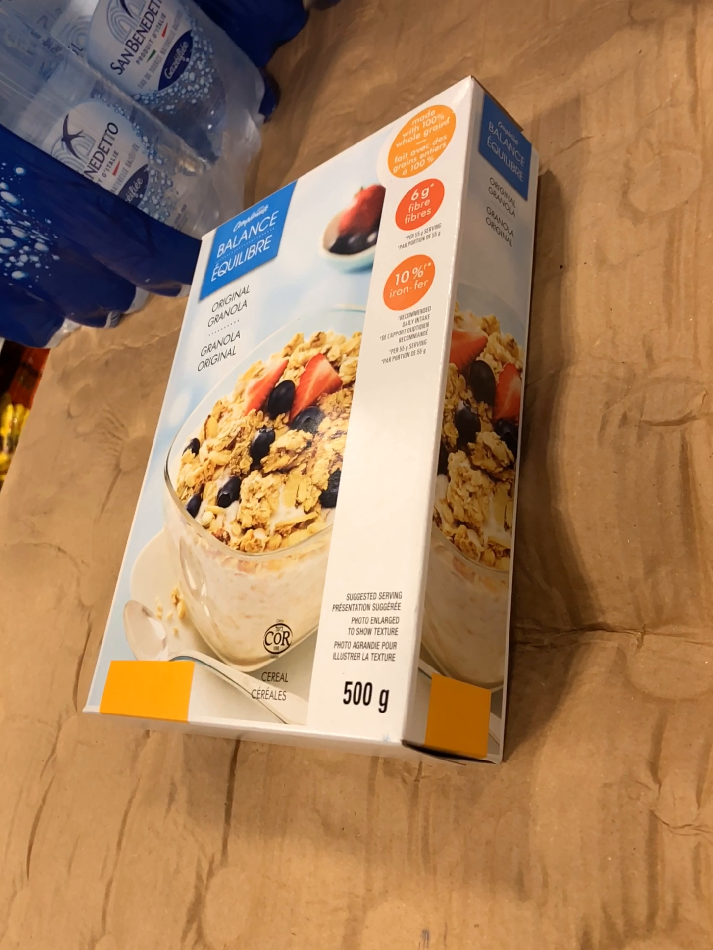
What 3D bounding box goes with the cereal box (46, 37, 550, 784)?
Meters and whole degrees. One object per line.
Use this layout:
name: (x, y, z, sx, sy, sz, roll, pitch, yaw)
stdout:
cereal box: (-0.022, -0.022, 0.318, 0.181, 0.050, 0.250, -12, 61, 41)
